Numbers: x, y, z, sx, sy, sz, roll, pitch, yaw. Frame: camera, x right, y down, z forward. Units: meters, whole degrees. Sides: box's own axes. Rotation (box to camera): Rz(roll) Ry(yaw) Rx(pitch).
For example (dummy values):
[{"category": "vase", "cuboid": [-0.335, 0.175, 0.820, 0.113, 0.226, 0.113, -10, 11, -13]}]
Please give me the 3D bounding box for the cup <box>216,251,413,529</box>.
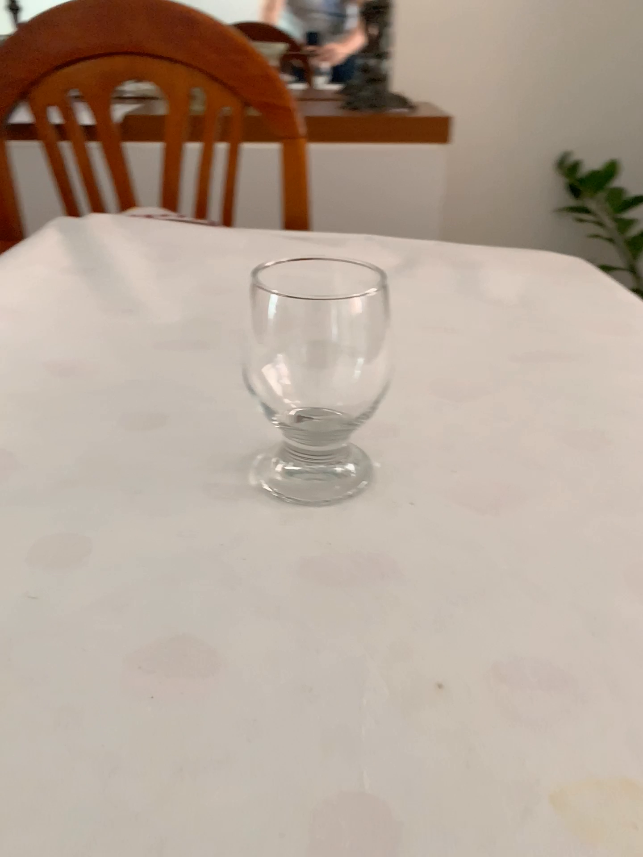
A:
[{"category": "cup", "cuboid": [-0.003, -0.021, 0.333, 0.080, 0.112, 0.080, 1, 30, -1]}]
